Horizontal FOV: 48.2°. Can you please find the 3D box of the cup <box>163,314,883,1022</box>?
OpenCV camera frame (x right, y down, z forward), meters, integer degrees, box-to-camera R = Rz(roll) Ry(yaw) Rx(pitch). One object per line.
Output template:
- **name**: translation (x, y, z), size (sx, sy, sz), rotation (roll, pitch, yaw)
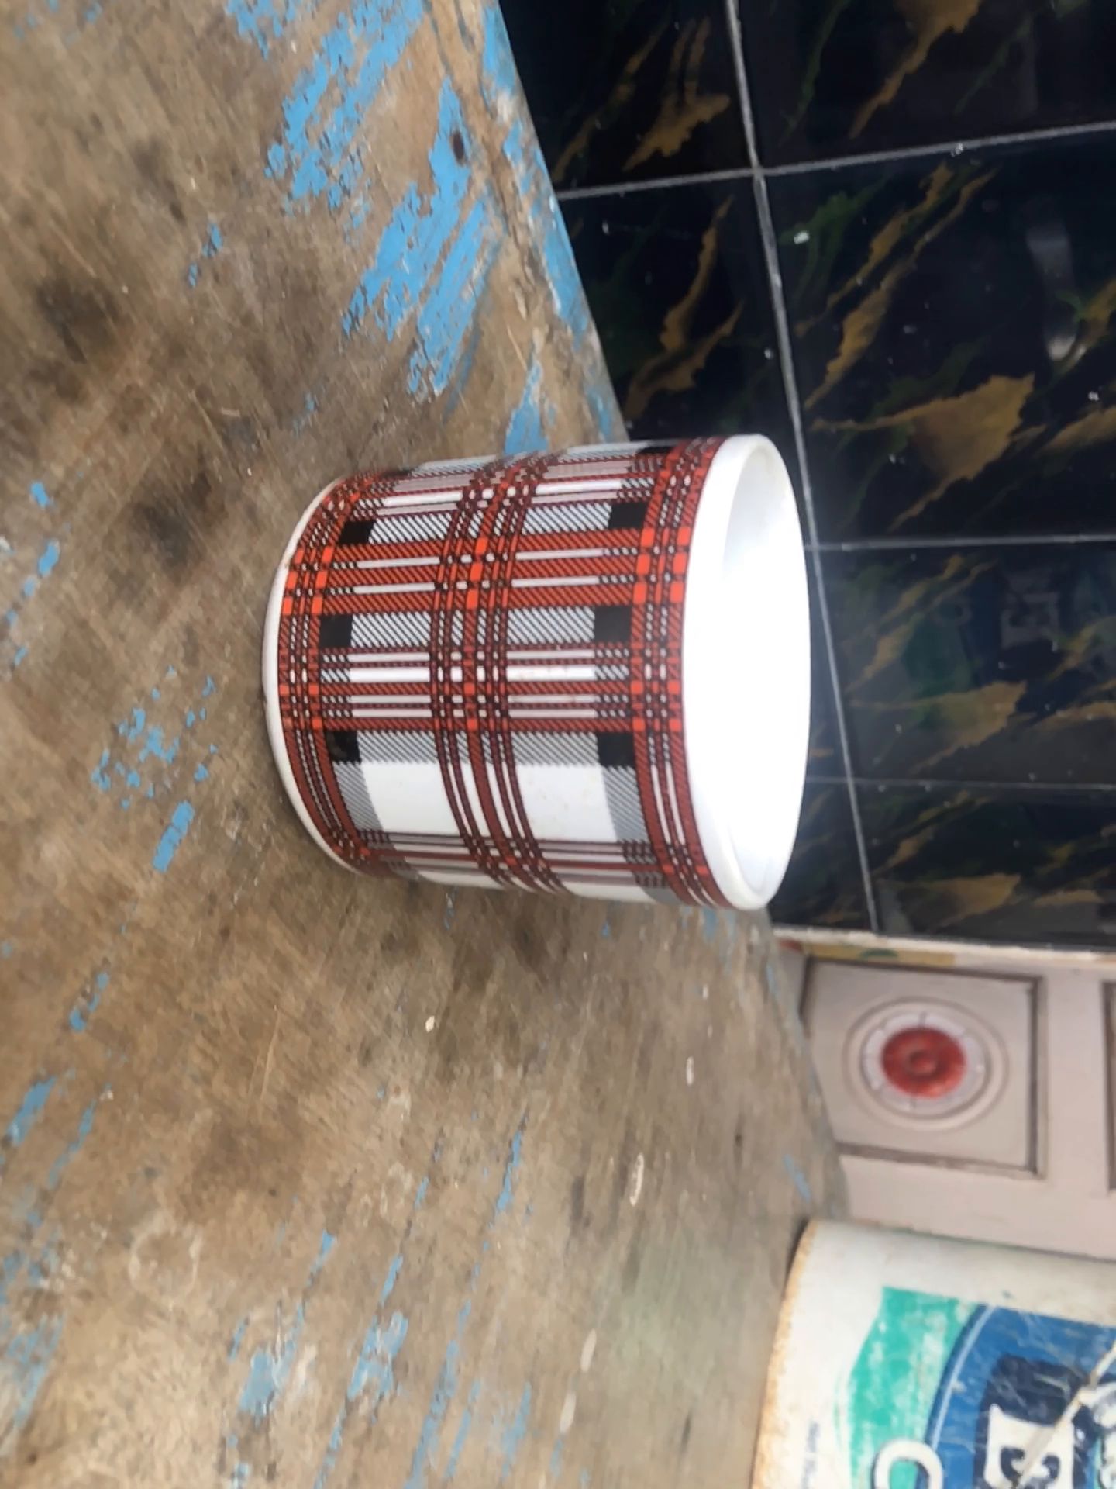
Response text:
- **cup**: translation (0.007, -0.004, 0.210), size (0.111, 0.080, 0.060), rotation (61, 36, -54)
